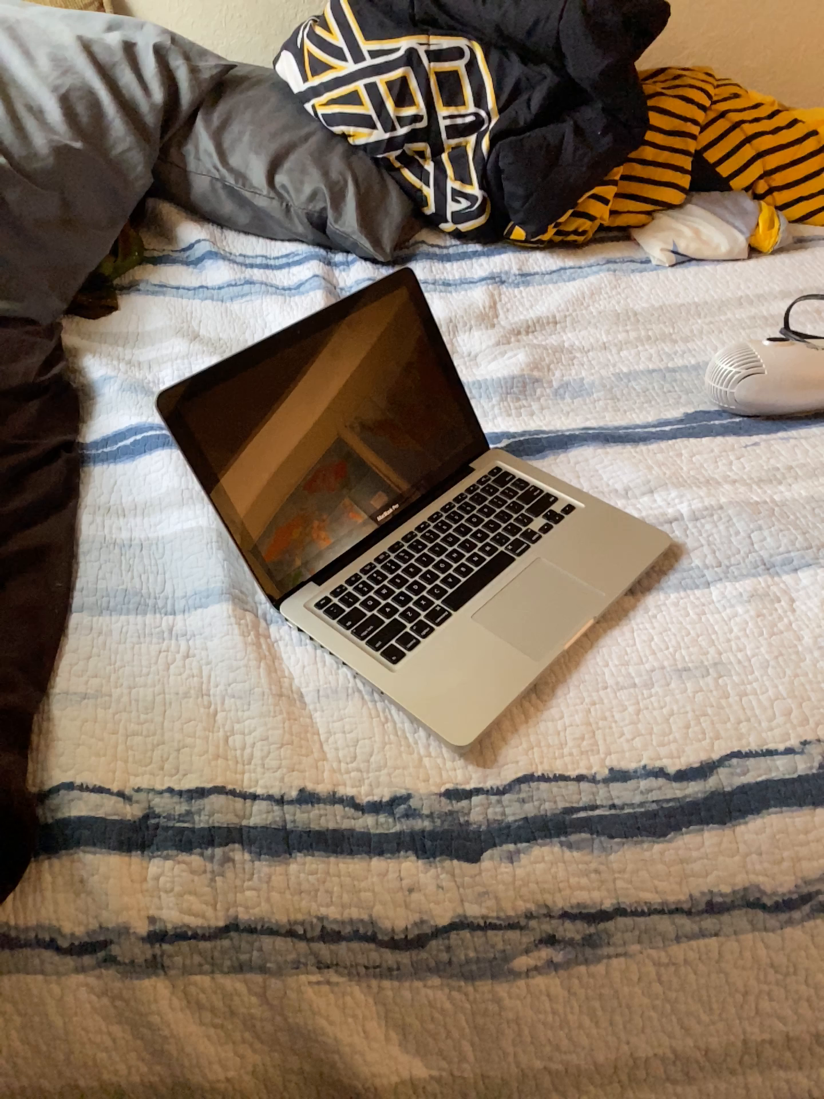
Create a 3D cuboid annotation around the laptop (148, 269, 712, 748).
[{"bbox_3d":[0.017,-0.068,0.762,0.346,0.165,0.321,32,53,28],"label":"laptop"}]
